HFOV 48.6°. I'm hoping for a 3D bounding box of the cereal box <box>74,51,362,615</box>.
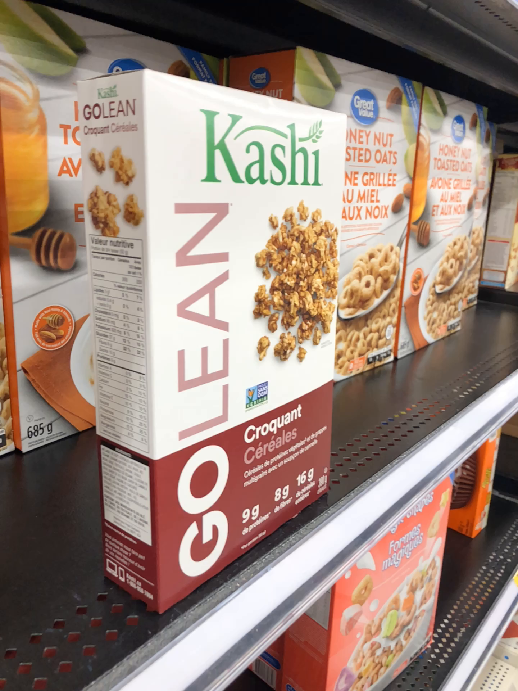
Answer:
[{"bbox_3d":[-0.014,-0.011,0.335,0.050,0.259,0.171,14,19,36],"label":"cereal box"}]
